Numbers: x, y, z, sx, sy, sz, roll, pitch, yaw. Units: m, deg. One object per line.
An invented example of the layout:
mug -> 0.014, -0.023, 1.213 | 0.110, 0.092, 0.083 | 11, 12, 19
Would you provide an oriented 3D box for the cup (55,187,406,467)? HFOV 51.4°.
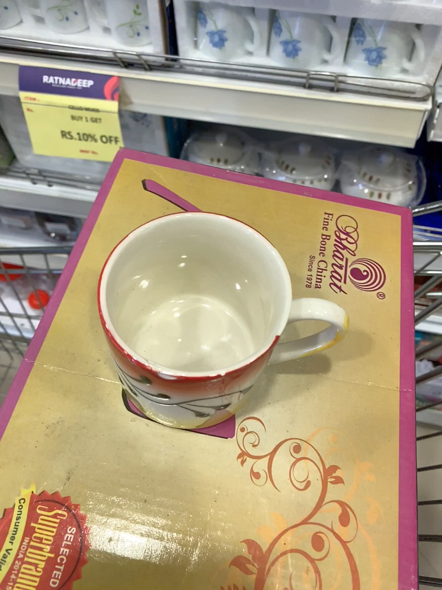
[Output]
cup -> 0.005, 0.017, 0.193 | 0.110, 0.070, 0.080 | 8, 59, -1
